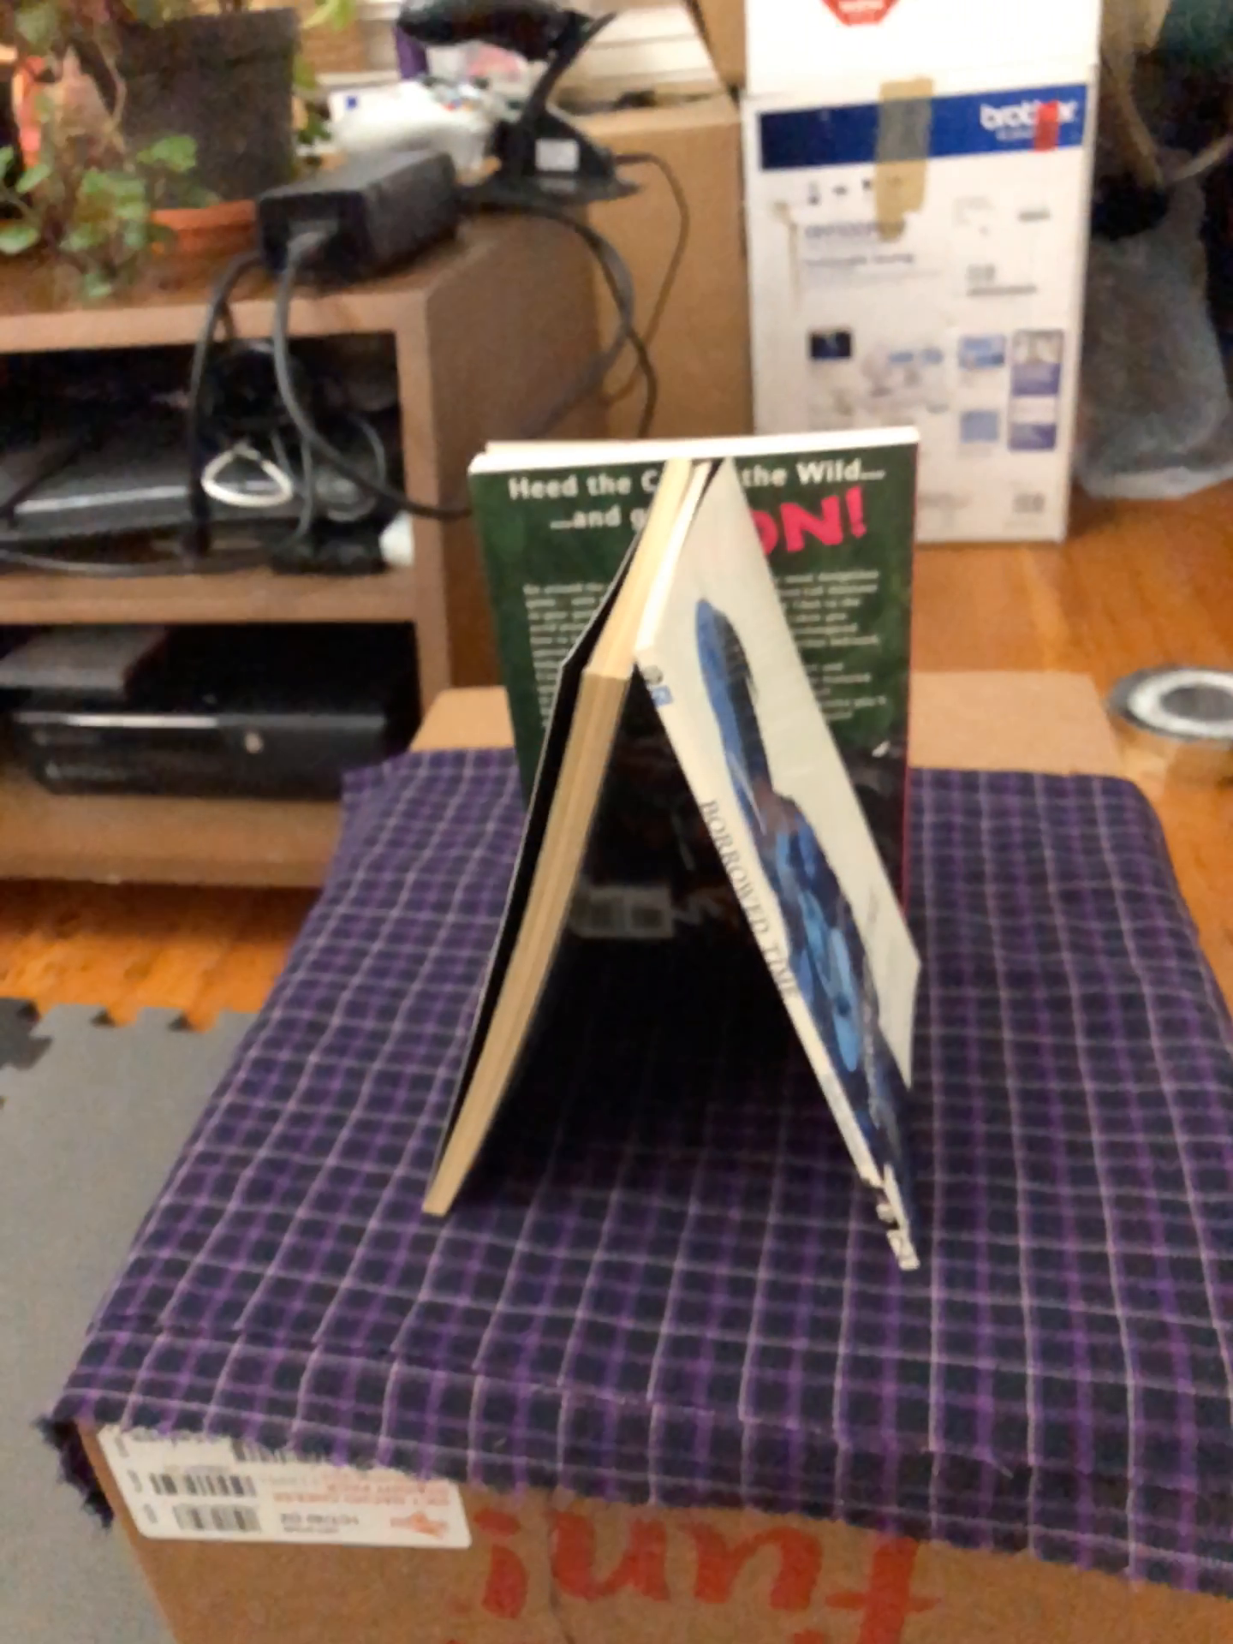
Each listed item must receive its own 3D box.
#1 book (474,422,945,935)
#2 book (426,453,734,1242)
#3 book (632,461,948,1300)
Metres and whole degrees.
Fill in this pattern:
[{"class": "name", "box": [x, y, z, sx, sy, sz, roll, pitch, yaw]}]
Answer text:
[{"class": "book", "box": [0.036, -0.039, 0.473, 0.140, 0.189, 0.020, 0, 38, 9]}, {"class": "book", "box": [-0.010, 0.006, 0.417, 0.010, 0.199, 0.151, 19, 35, 1]}, {"class": "book", "box": [0.058, 0.011, 0.393, 0.010, 0.199, 0.141, -16, 26, 19]}]
